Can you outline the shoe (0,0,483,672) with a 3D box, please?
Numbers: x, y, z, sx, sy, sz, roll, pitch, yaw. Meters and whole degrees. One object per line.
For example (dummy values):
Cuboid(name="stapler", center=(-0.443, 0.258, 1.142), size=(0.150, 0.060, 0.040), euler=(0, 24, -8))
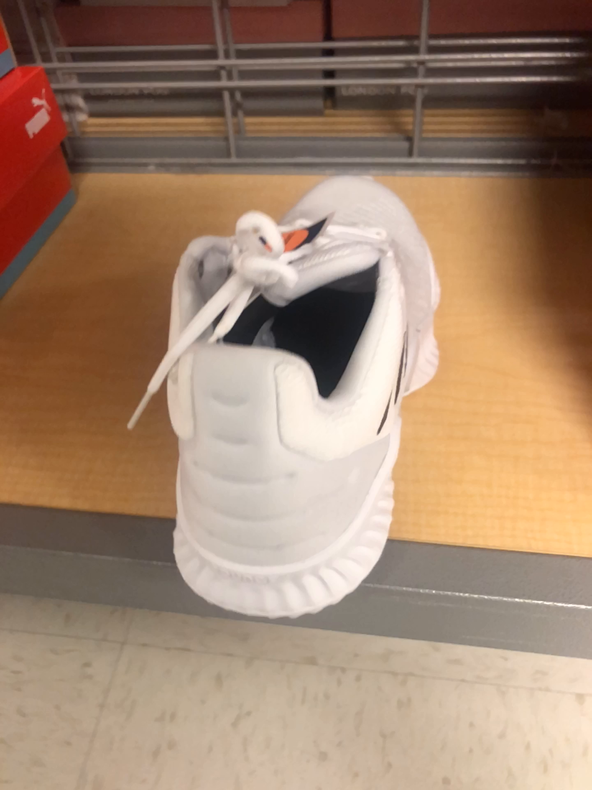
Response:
Cuboid(name="shoe", center=(0.010, -0.069, 0.335), size=(0.120, 0.150, 0.336), euler=(8, 48, 13))
